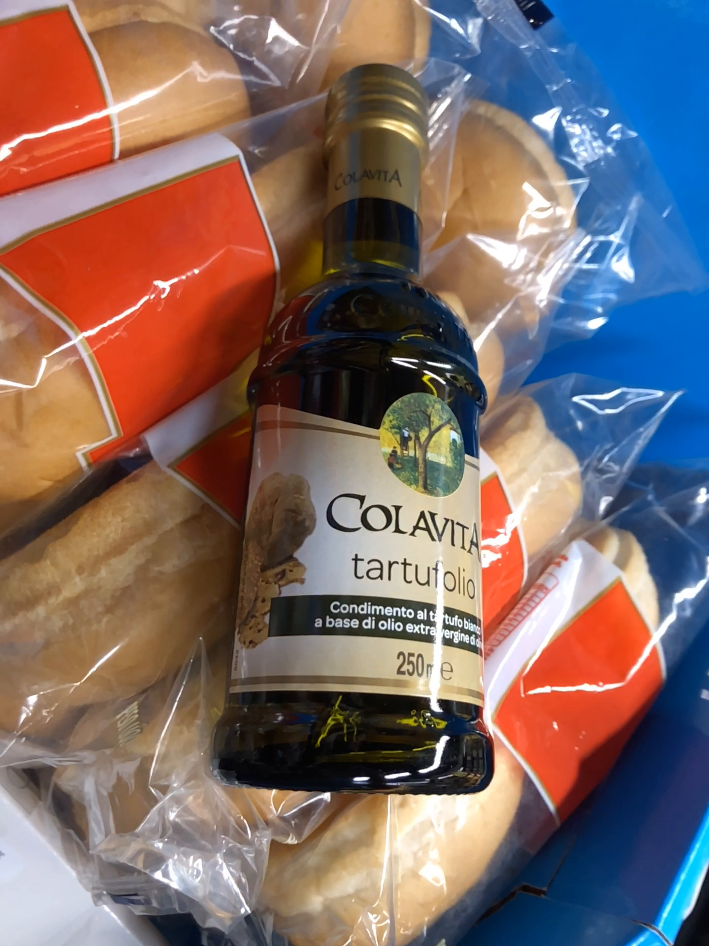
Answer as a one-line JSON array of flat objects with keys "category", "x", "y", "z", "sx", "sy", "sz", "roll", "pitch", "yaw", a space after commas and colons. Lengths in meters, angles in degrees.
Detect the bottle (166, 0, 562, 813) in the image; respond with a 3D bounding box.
[{"category": "bottle", "x": 0.006, "y": -0.028, "z": 0.211, "sx": 0.070, "sy": 0.060, "sz": 0.210, "roll": 12, "pitch": 72, "yaw": -27}]
